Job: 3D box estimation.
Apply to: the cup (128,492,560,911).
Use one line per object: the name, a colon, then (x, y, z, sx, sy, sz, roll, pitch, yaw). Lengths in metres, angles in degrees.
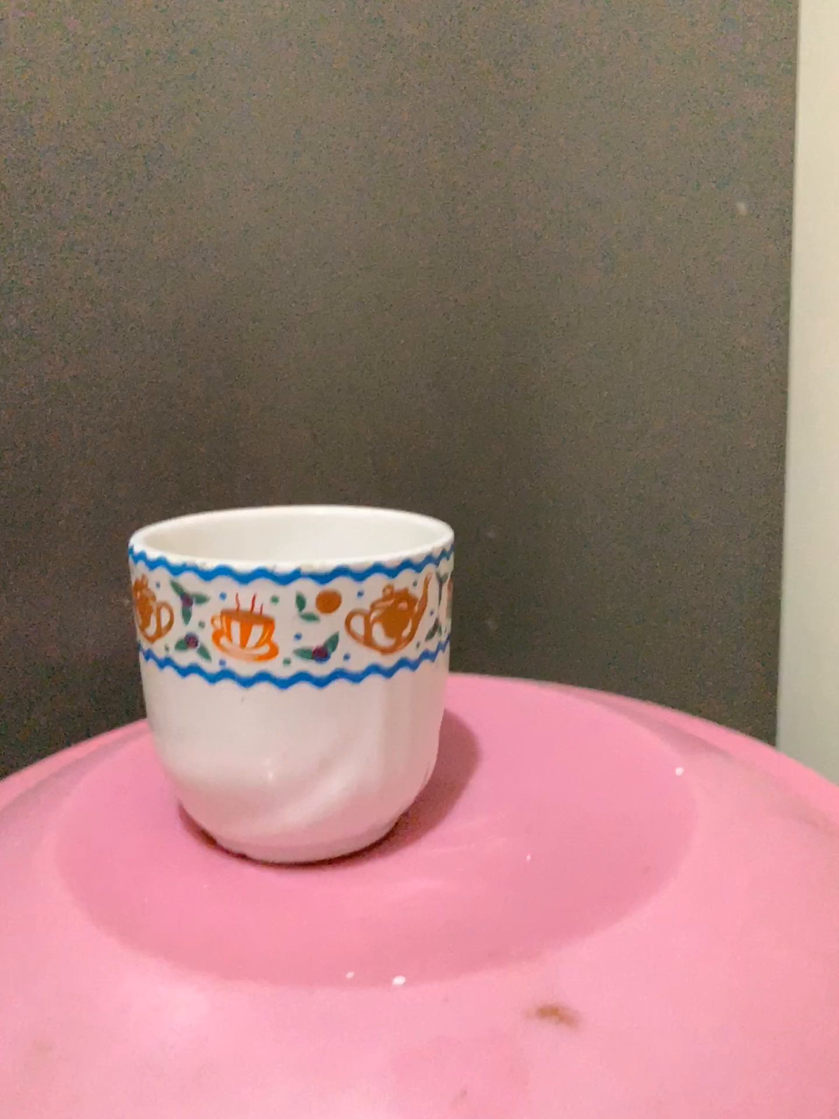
cup: (-0.020, 0.021, 0.194, 0.076, 0.062, 0.072, -2, 9, 0)
